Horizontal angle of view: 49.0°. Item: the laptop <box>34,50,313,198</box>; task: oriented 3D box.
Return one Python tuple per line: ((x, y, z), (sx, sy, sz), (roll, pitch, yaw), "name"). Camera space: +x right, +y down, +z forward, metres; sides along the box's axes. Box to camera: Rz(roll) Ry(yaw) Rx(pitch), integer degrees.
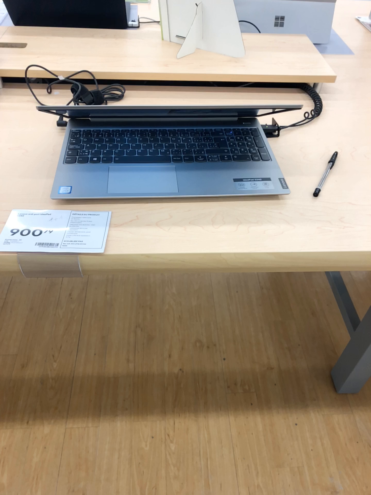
((-0.025, -0.201, 0.636), (0.351, 0.122, 0.235), (-2, 45, -5), "laptop")
